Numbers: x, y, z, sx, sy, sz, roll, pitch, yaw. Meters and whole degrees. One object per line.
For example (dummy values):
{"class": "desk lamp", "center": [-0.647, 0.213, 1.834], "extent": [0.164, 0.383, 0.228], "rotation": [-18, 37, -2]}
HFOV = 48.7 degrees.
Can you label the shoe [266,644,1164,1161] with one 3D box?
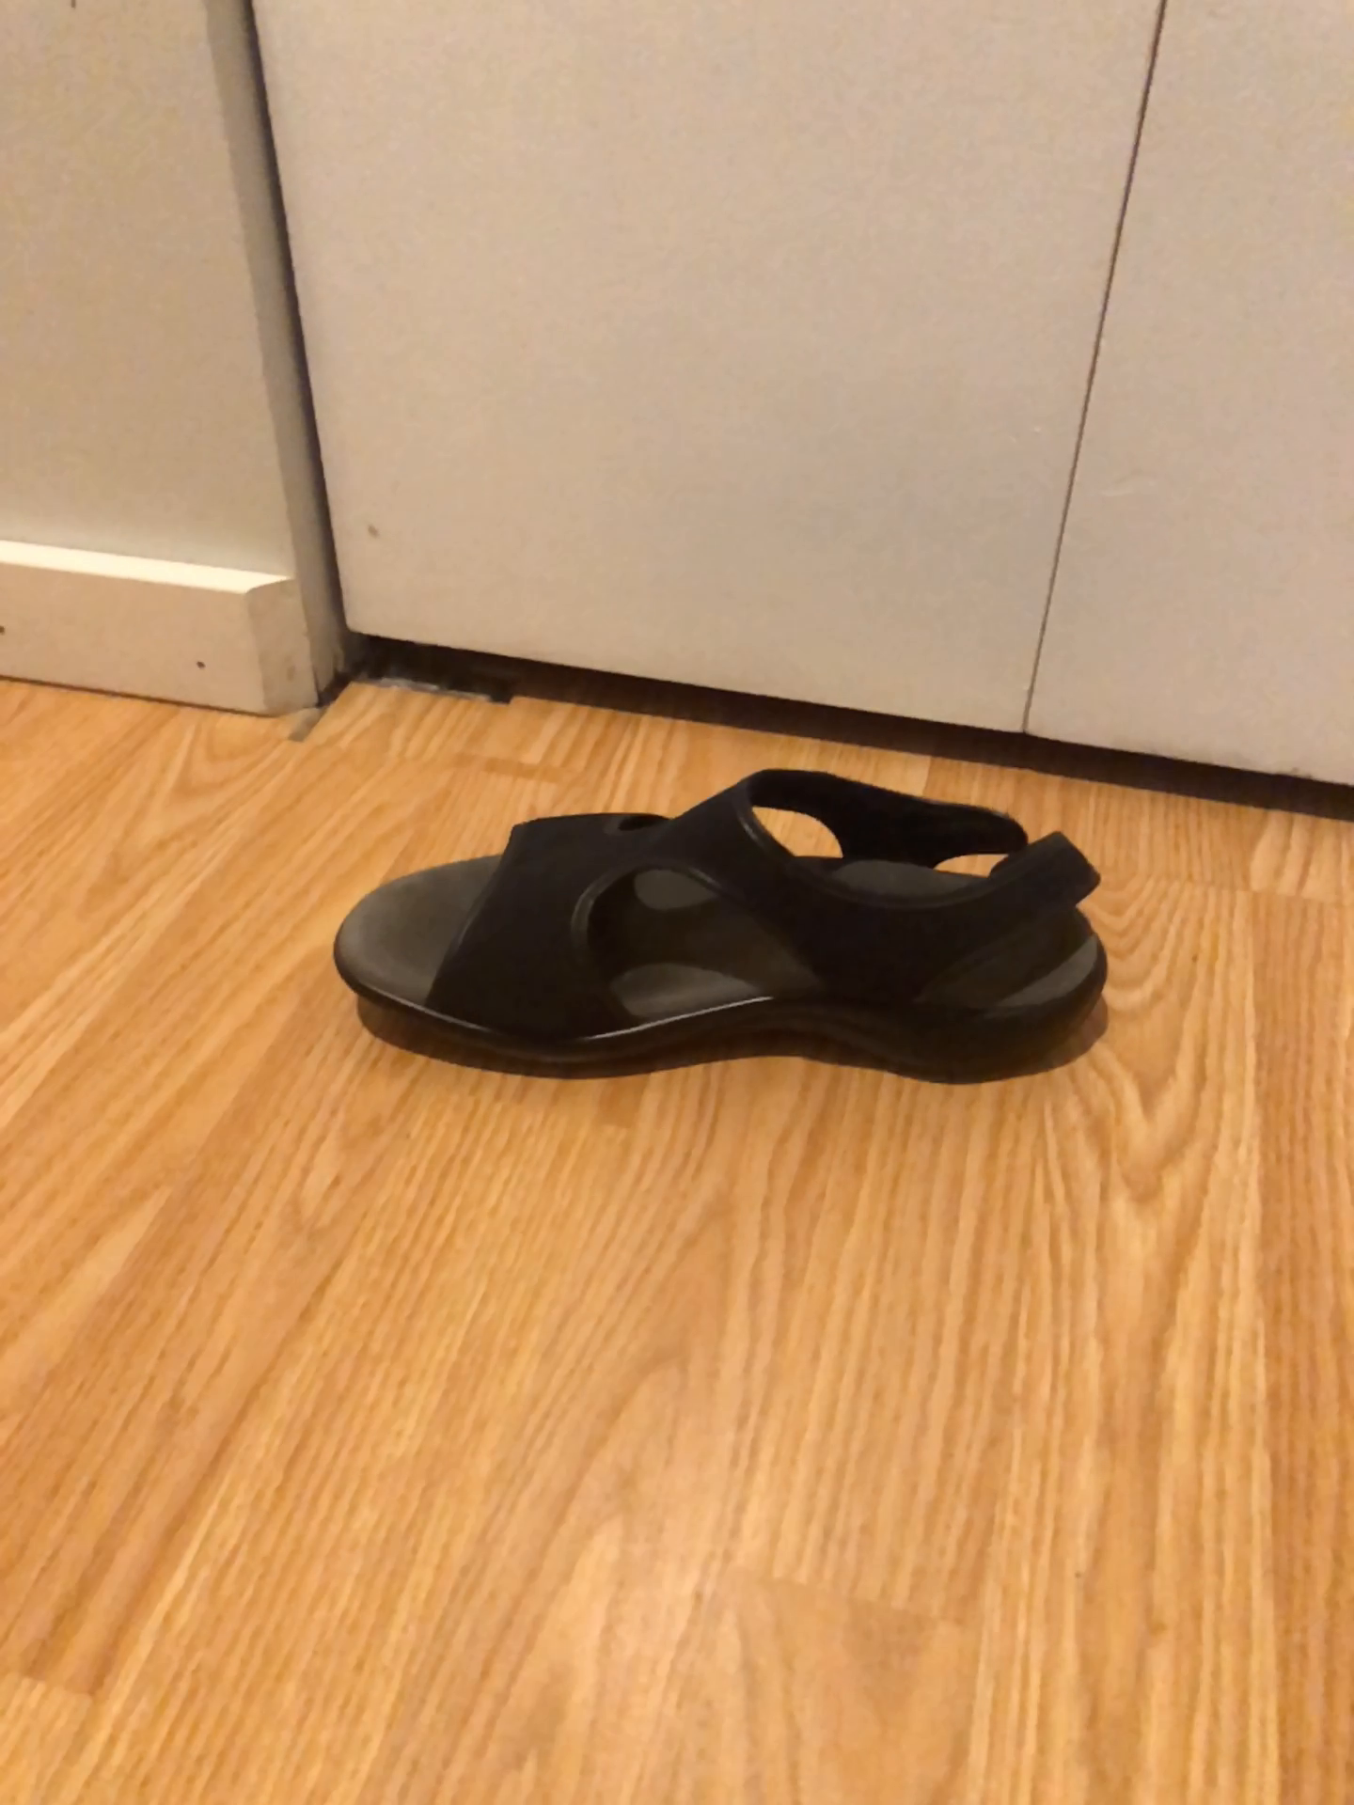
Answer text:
{"class": "shoe", "center": [0.013, -0.003, 0.483], "extent": [0.250, 0.100, 0.100], "rotation": [6, 40, 6]}
